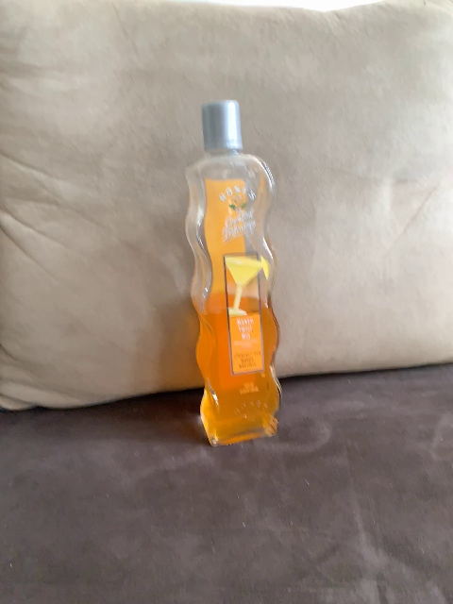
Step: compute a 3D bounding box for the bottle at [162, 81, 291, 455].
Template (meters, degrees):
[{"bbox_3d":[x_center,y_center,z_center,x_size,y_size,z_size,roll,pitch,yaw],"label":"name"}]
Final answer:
[{"bbox_3d":[0.000,-0.026,0.417,0.080,0.299,0.080,-3,13,1],"label":"bottle"}]
